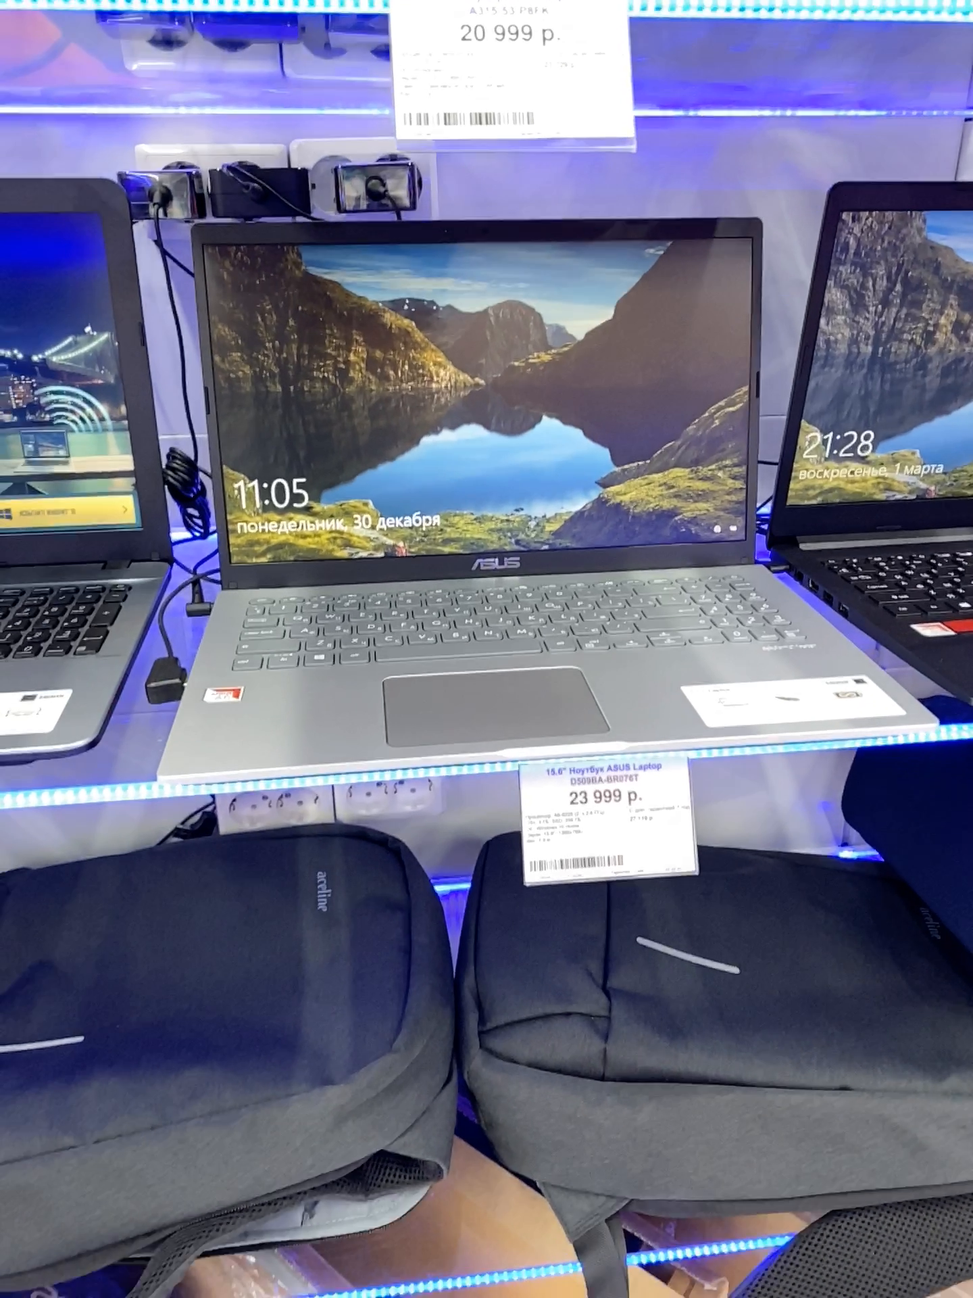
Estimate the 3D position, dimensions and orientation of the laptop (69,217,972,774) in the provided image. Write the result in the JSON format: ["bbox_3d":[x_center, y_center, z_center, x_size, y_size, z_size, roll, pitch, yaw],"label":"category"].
[{"bbox_3d":[0.019,-0.111,0.536,0.360,0.216,0.287,-3,23,-6],"label":"laptop"}]
